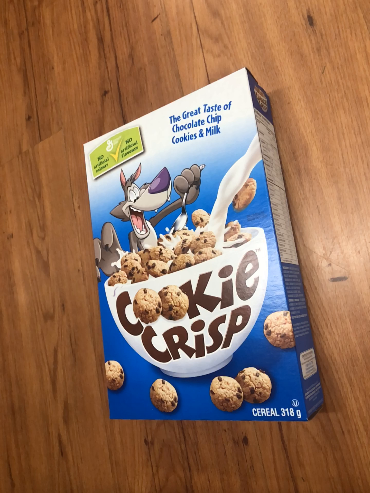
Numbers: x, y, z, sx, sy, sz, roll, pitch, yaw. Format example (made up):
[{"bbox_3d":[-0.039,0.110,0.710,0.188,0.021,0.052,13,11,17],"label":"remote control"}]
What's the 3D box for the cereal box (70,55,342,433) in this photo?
[{"bbox_3d":[0.003,0.011,0.371,0.201,0.060,0.280,-14,79,31],"label":"cereal box"}]
